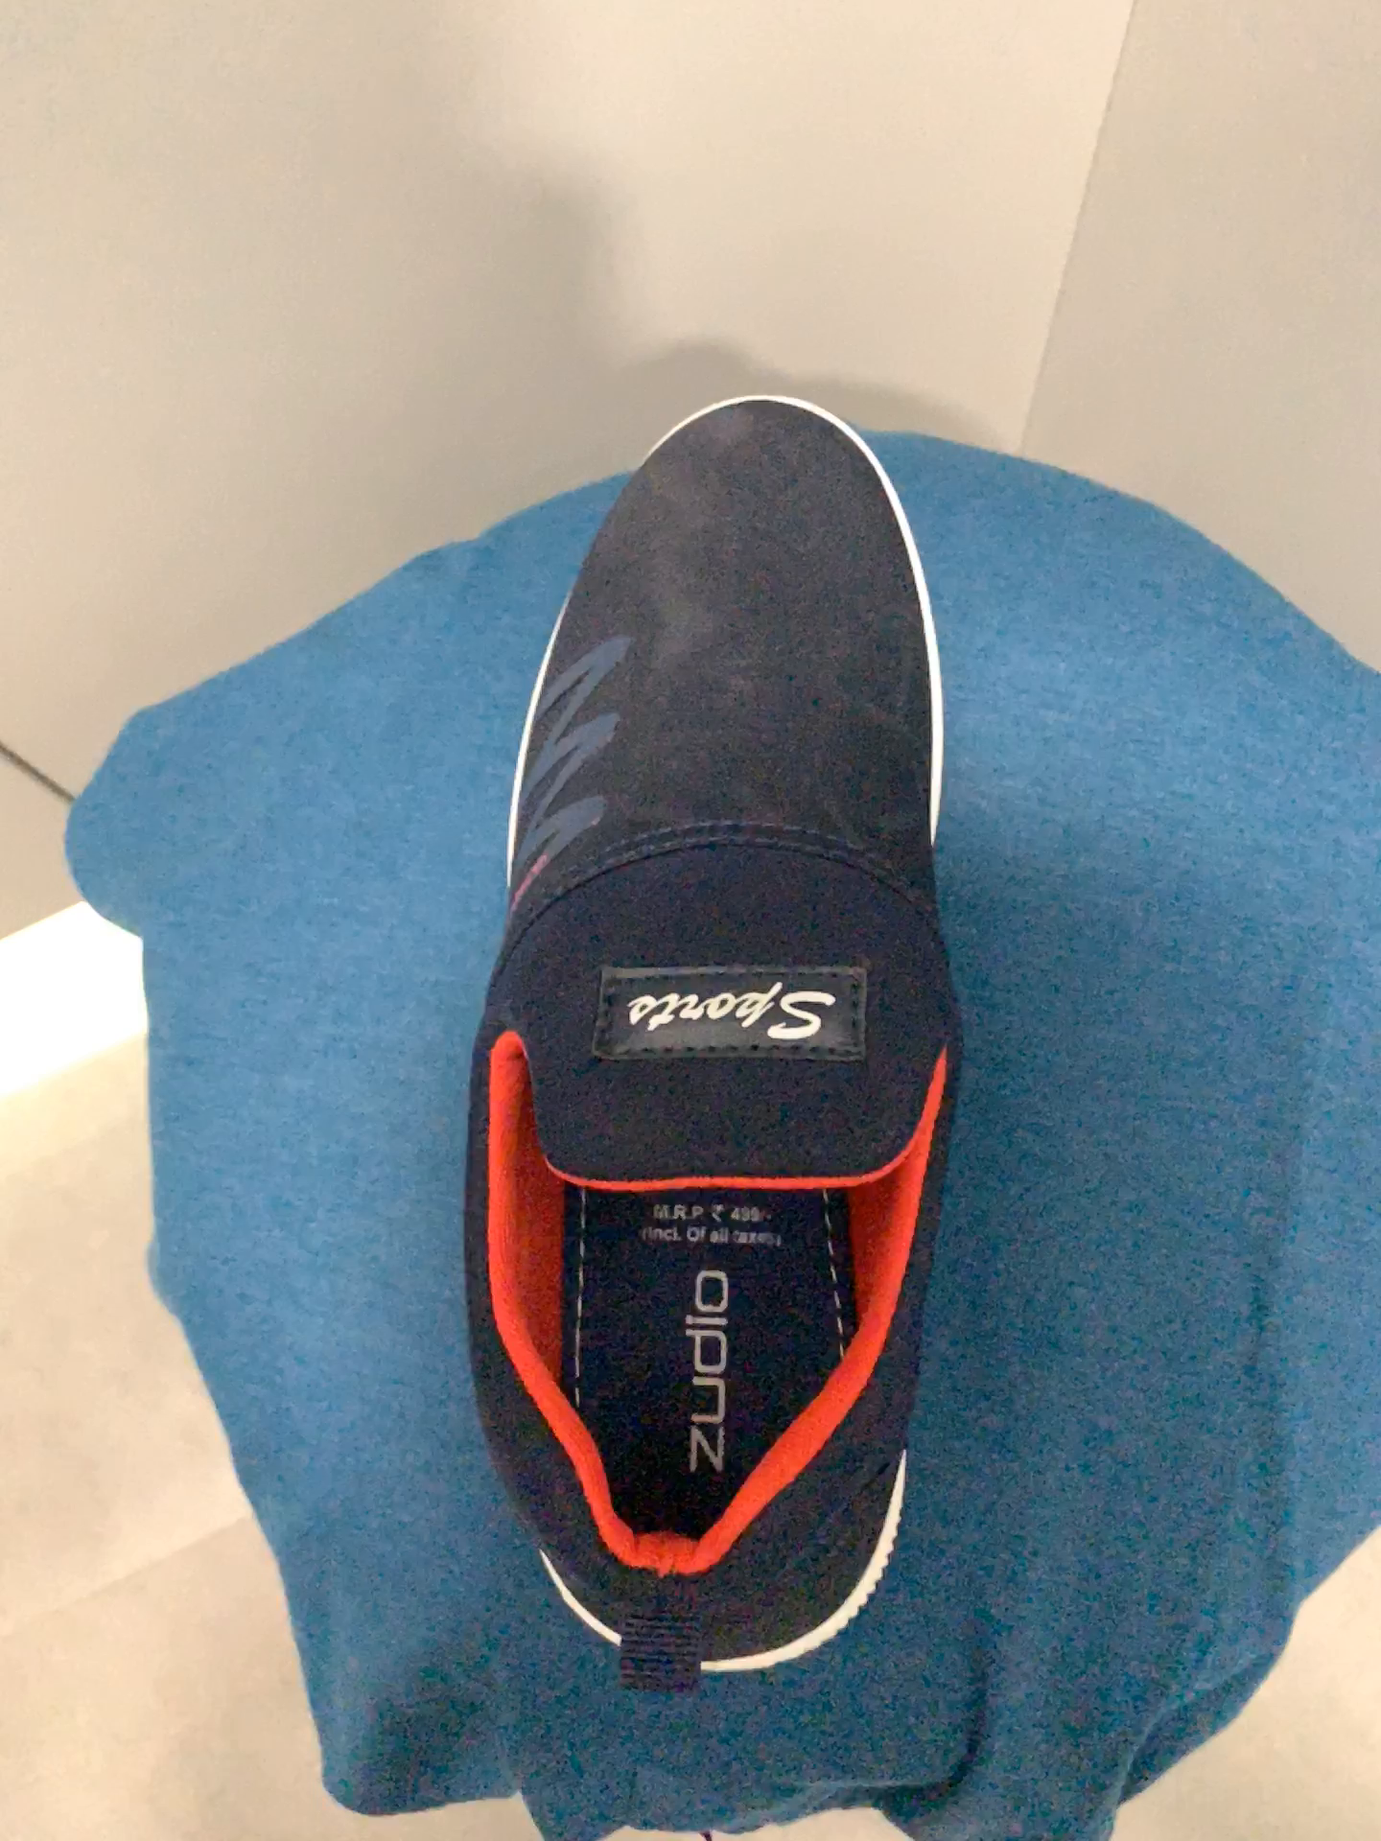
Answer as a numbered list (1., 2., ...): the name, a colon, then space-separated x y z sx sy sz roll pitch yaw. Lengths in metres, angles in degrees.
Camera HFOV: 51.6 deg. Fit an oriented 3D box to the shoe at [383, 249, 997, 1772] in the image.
1. shoe: 0.006 0.010 0.291 0.090 0.100 0.260 0 75 5
